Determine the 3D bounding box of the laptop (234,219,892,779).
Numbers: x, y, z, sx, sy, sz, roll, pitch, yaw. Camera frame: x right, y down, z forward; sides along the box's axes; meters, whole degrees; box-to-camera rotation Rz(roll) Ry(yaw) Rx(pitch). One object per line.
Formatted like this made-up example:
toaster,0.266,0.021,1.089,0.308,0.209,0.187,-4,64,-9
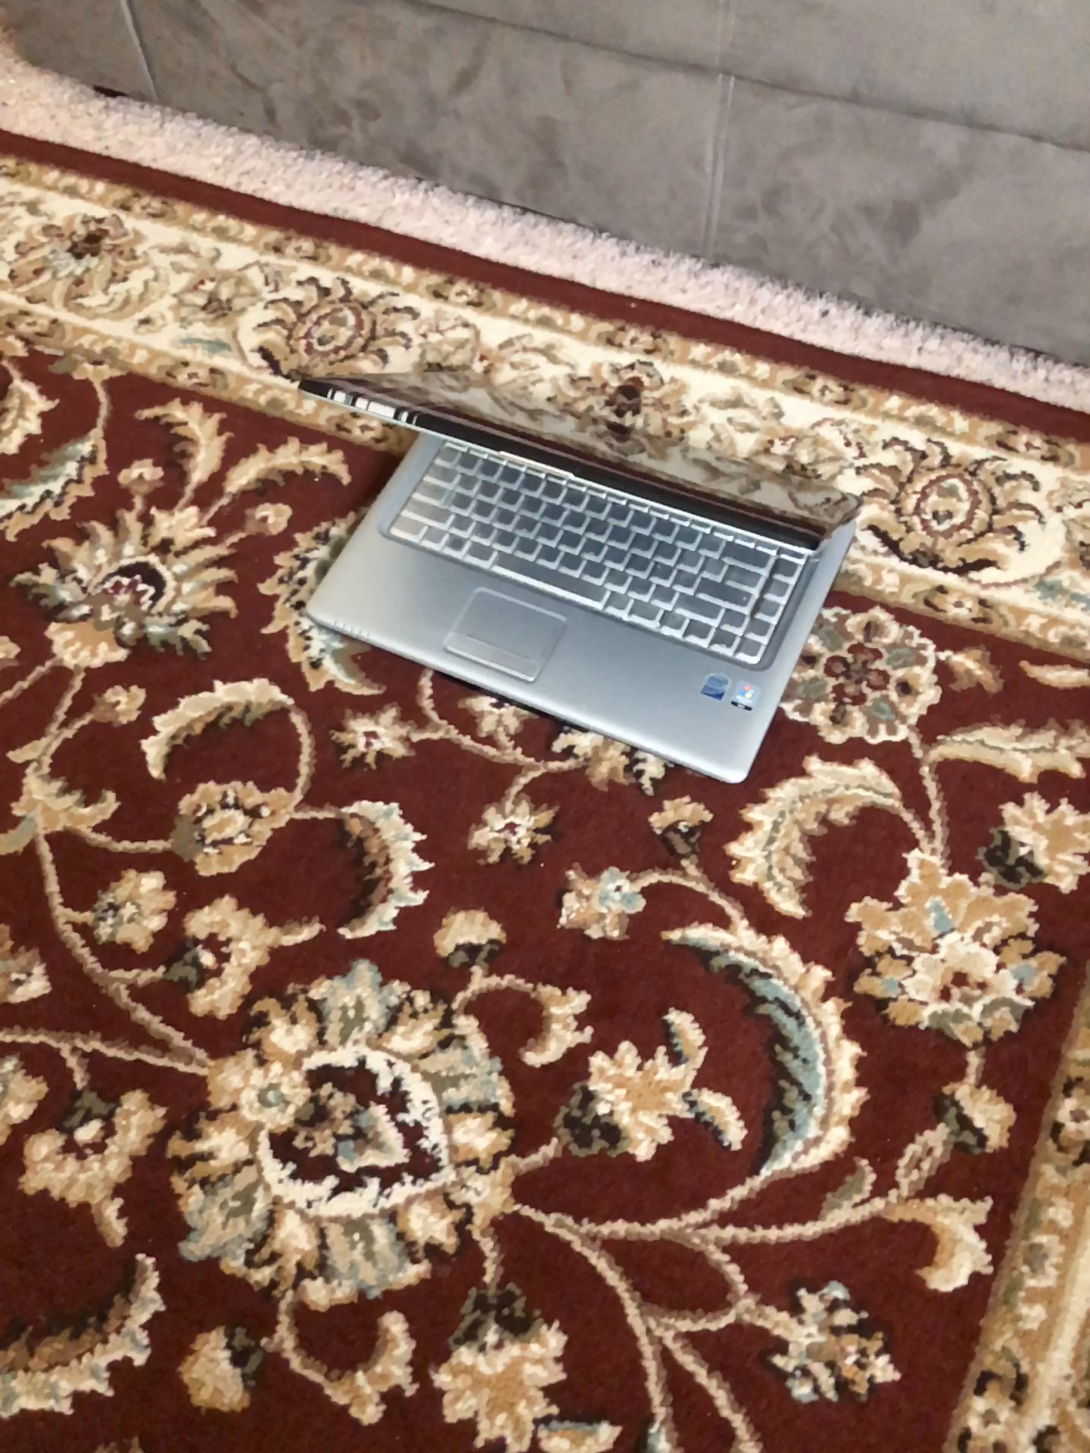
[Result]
laptop,0.018,-0.162,0.824,0.342,0.164,0.244,21,63,14
